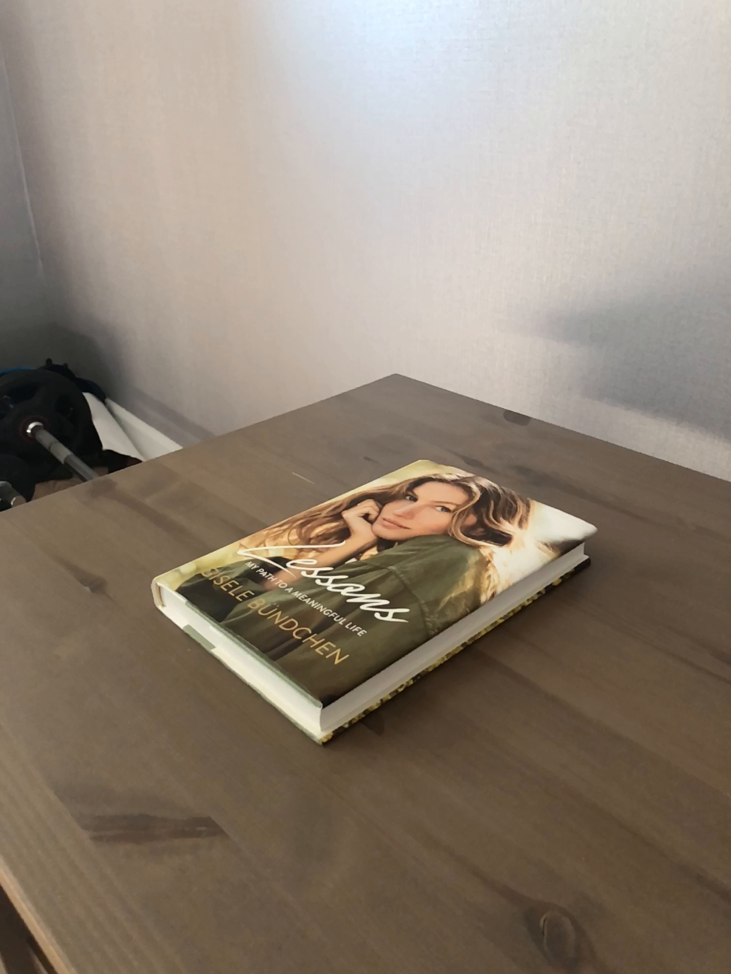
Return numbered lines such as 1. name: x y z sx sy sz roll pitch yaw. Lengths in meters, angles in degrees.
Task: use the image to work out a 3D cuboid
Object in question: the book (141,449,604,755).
1. book: 0.009 0.047 0.487 0.228 0.030 0.160 -24 35 -38
